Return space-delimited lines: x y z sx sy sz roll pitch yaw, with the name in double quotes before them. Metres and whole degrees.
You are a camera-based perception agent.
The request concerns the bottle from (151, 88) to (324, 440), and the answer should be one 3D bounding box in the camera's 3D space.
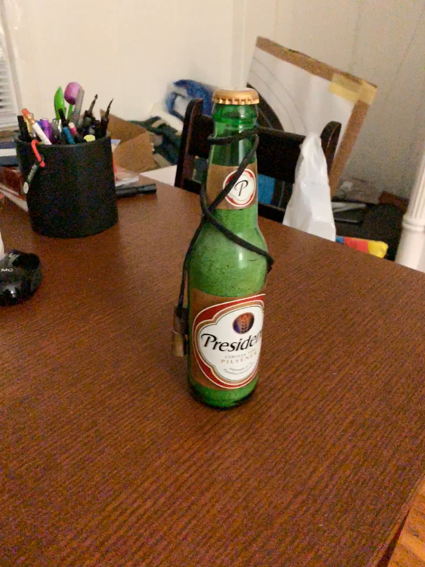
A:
"bottle" 0.010 -0.007 0.319 0.080 0.239 0.070 -11 33 -20
